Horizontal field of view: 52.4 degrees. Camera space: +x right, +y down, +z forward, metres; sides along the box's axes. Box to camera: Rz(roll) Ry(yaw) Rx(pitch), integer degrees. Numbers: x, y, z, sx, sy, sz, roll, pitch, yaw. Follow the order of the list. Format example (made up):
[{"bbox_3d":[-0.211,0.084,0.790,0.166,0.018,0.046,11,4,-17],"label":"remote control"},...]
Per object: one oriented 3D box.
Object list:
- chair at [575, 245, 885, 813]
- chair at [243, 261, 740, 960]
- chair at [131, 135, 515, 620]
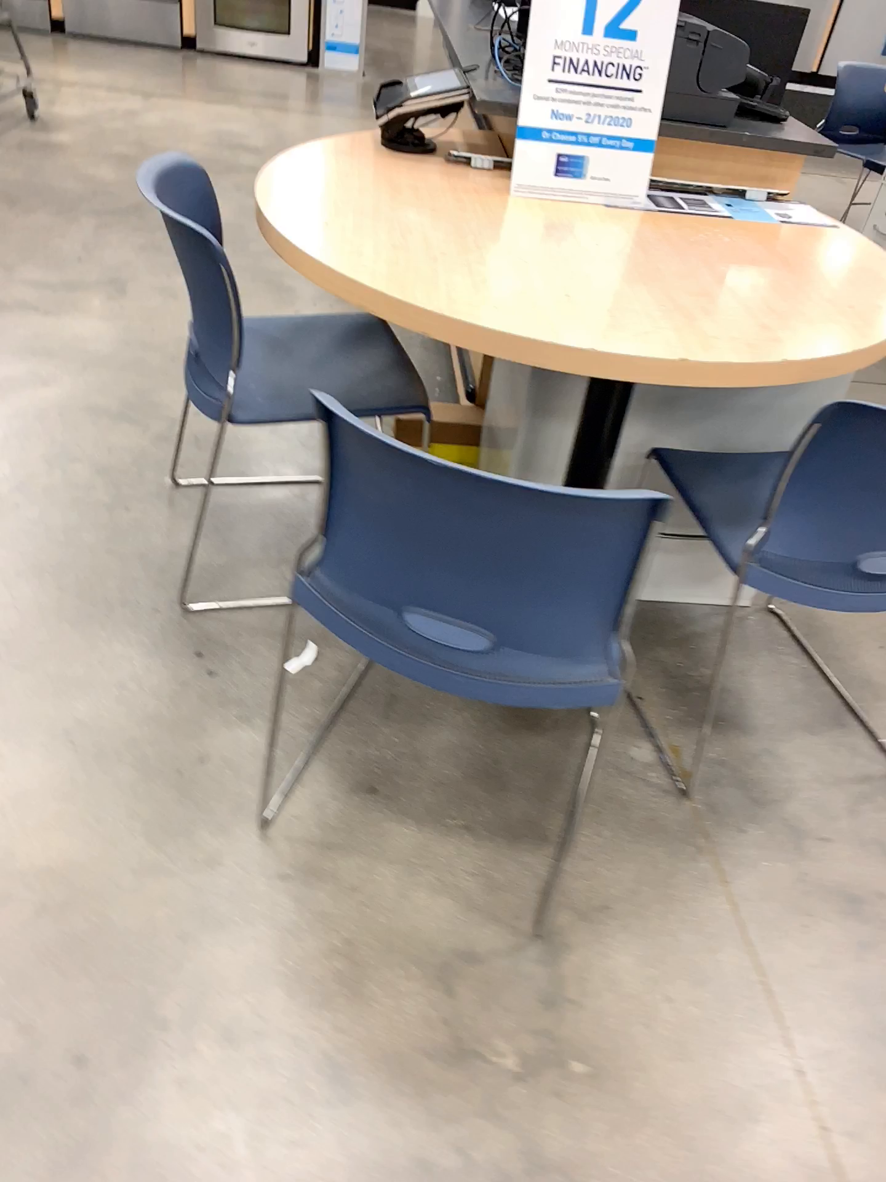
[{"bbox_3d":[0.625,-0.102,1.531,0.483,0.749,0.534,-3,40,-16],"label":"chair"},{"bbox_3d":[0.056,0.021,1.336,0.483,0.749,0.554,18,39,10],"label":"chair"},{"bbox_3d":[-0.273,-0.399,1.744,0.571,0.729,0.486,-4,40,-17],"label":"chair"}]
